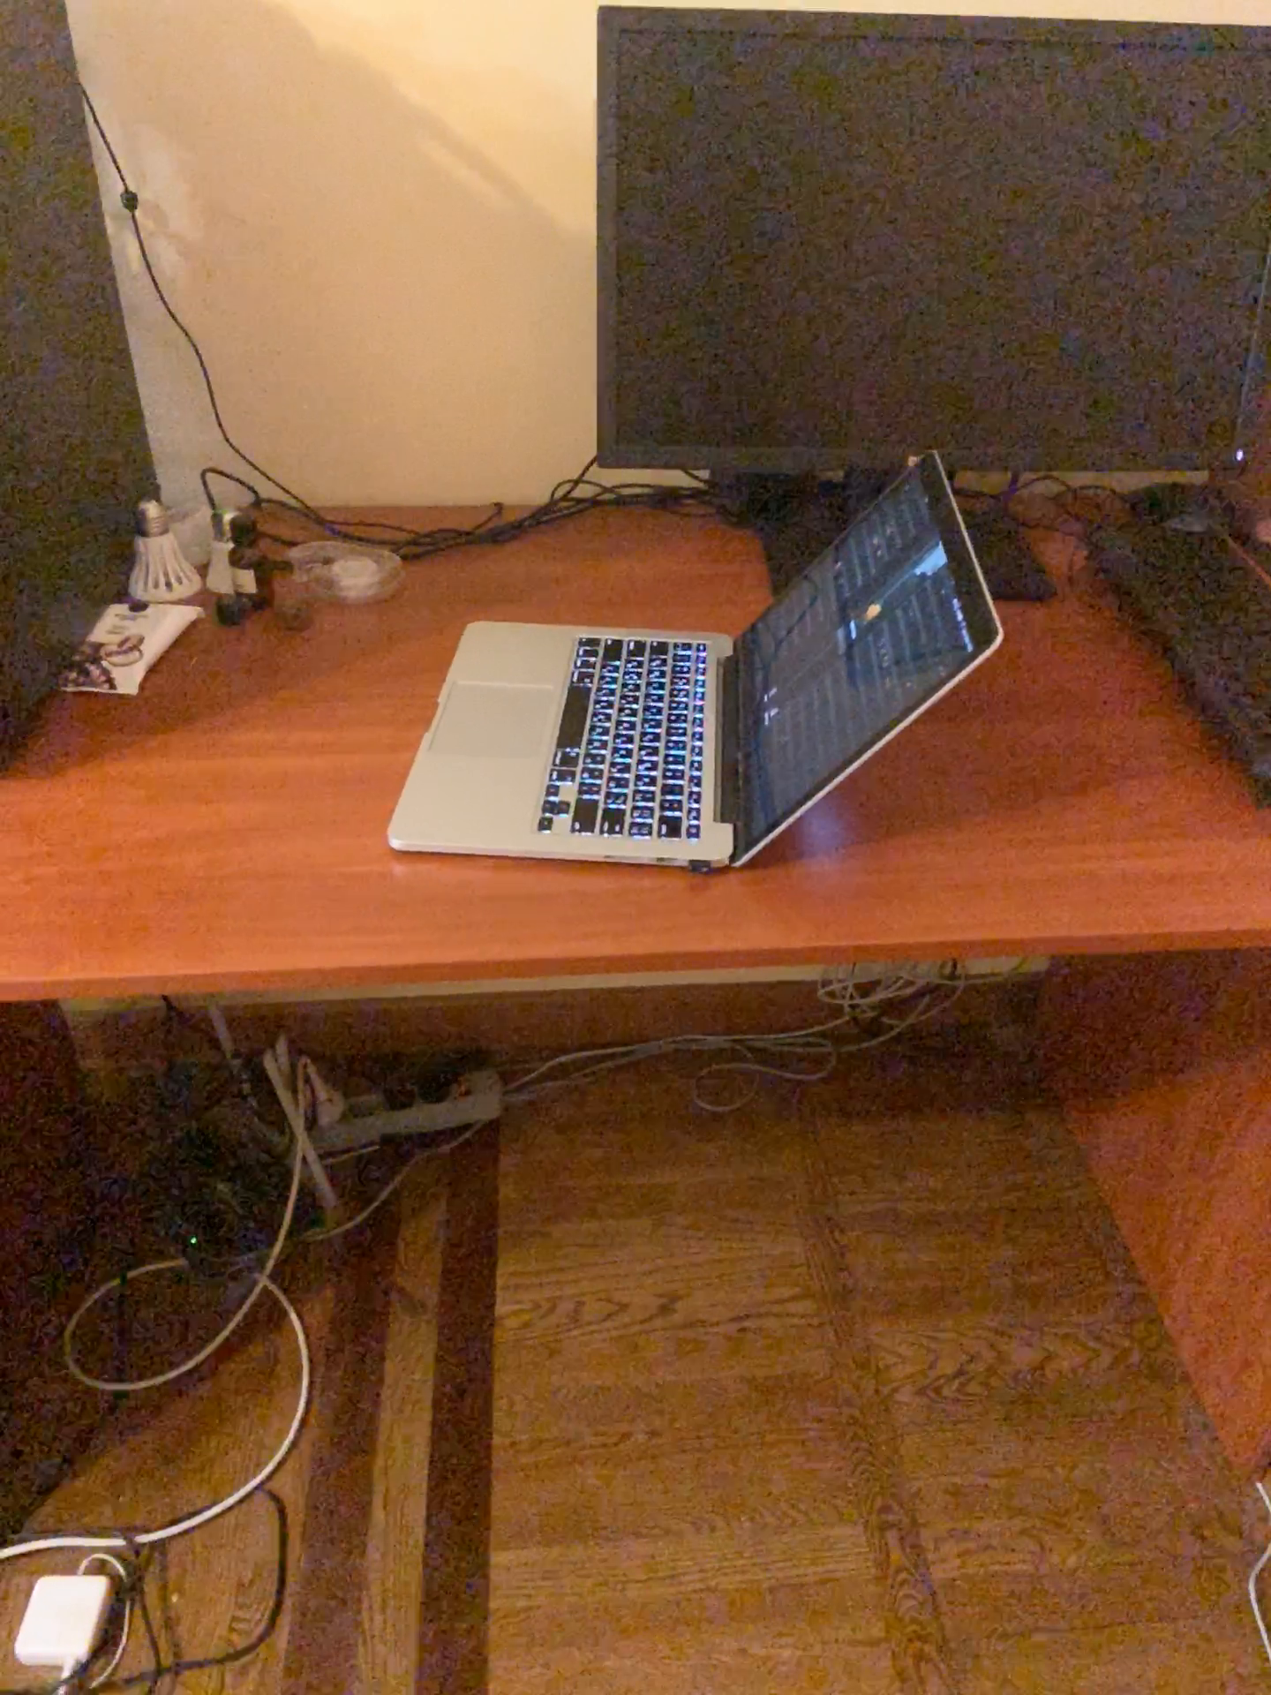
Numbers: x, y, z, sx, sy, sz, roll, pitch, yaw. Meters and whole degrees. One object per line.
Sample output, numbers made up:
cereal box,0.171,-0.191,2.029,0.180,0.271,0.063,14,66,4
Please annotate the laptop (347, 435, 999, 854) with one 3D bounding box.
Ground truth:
laptop,0.026,-0.141,0.811,0.333,0.139,0.287,1,36,2
